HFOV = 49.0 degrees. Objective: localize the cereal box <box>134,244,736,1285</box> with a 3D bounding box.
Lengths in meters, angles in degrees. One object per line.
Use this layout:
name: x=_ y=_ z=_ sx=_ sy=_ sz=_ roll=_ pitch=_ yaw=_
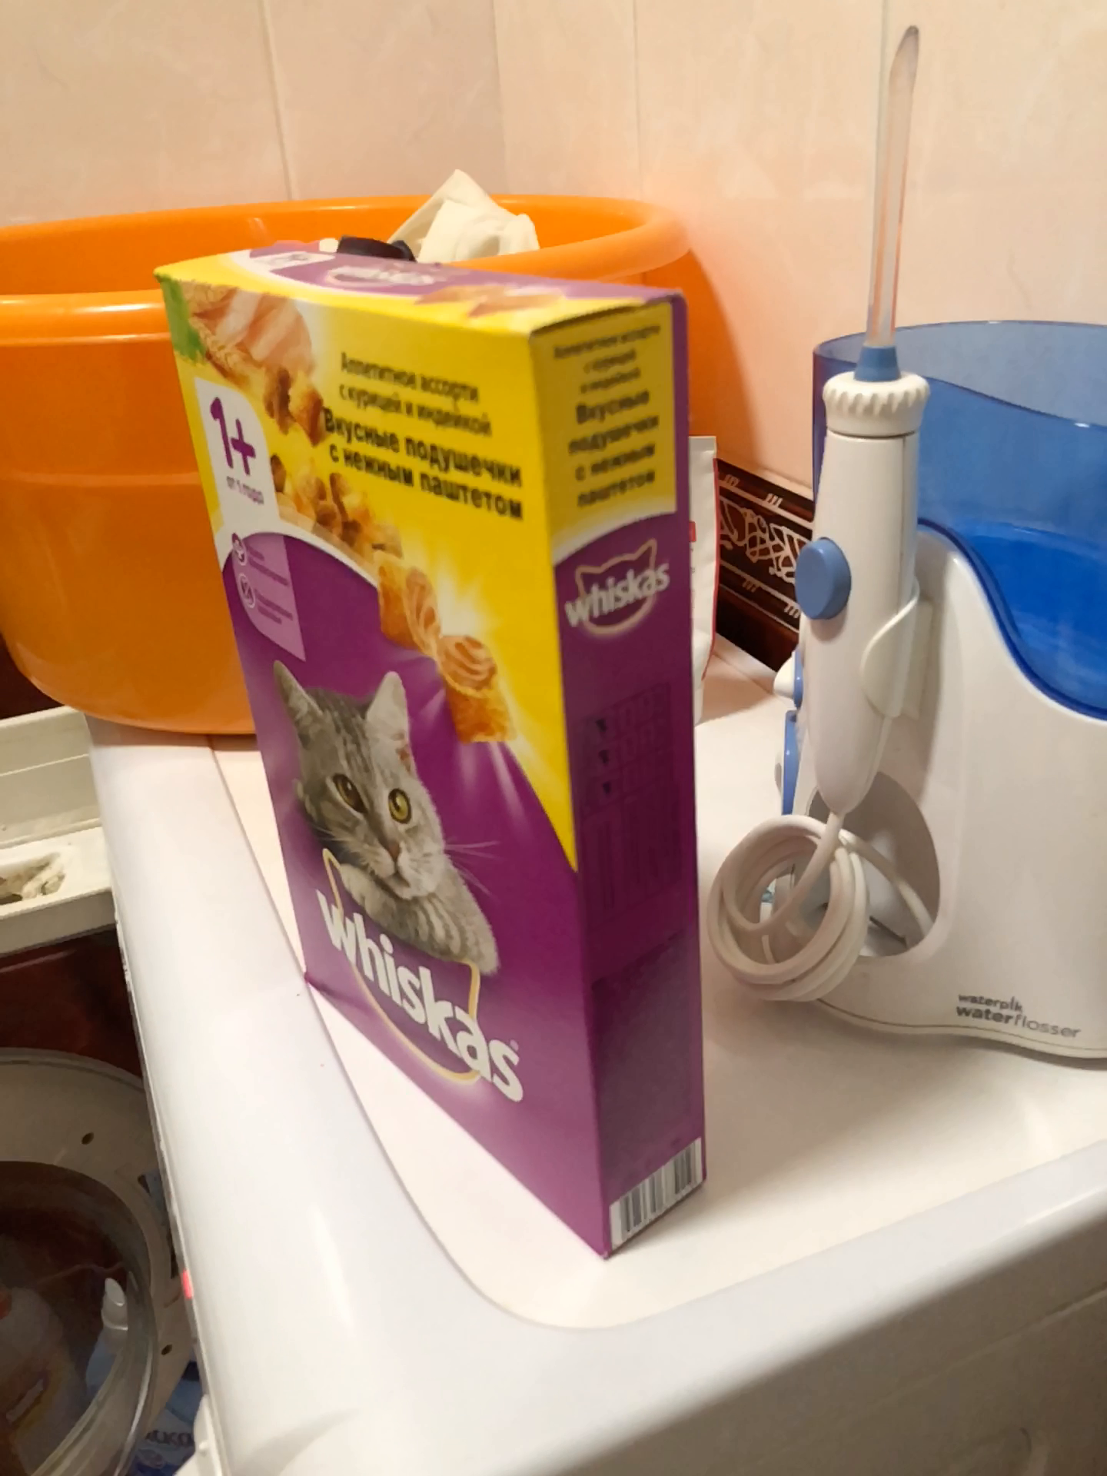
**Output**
cereal box: x=-0.027 y=0.002 z=0.298 sx=0.040 sy=0.219 sz=0.150 roll=-25 pitch=34 yaw=-33
